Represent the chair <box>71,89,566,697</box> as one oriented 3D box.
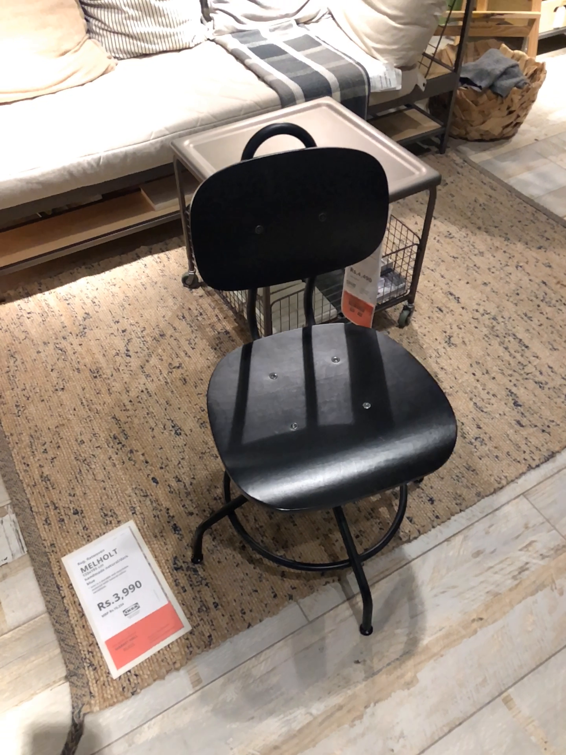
[{"bbox_3d":[0.068,0.047,1.089,0.590,0.765,0.583,-16,50,-12],"label":"chair"}]
